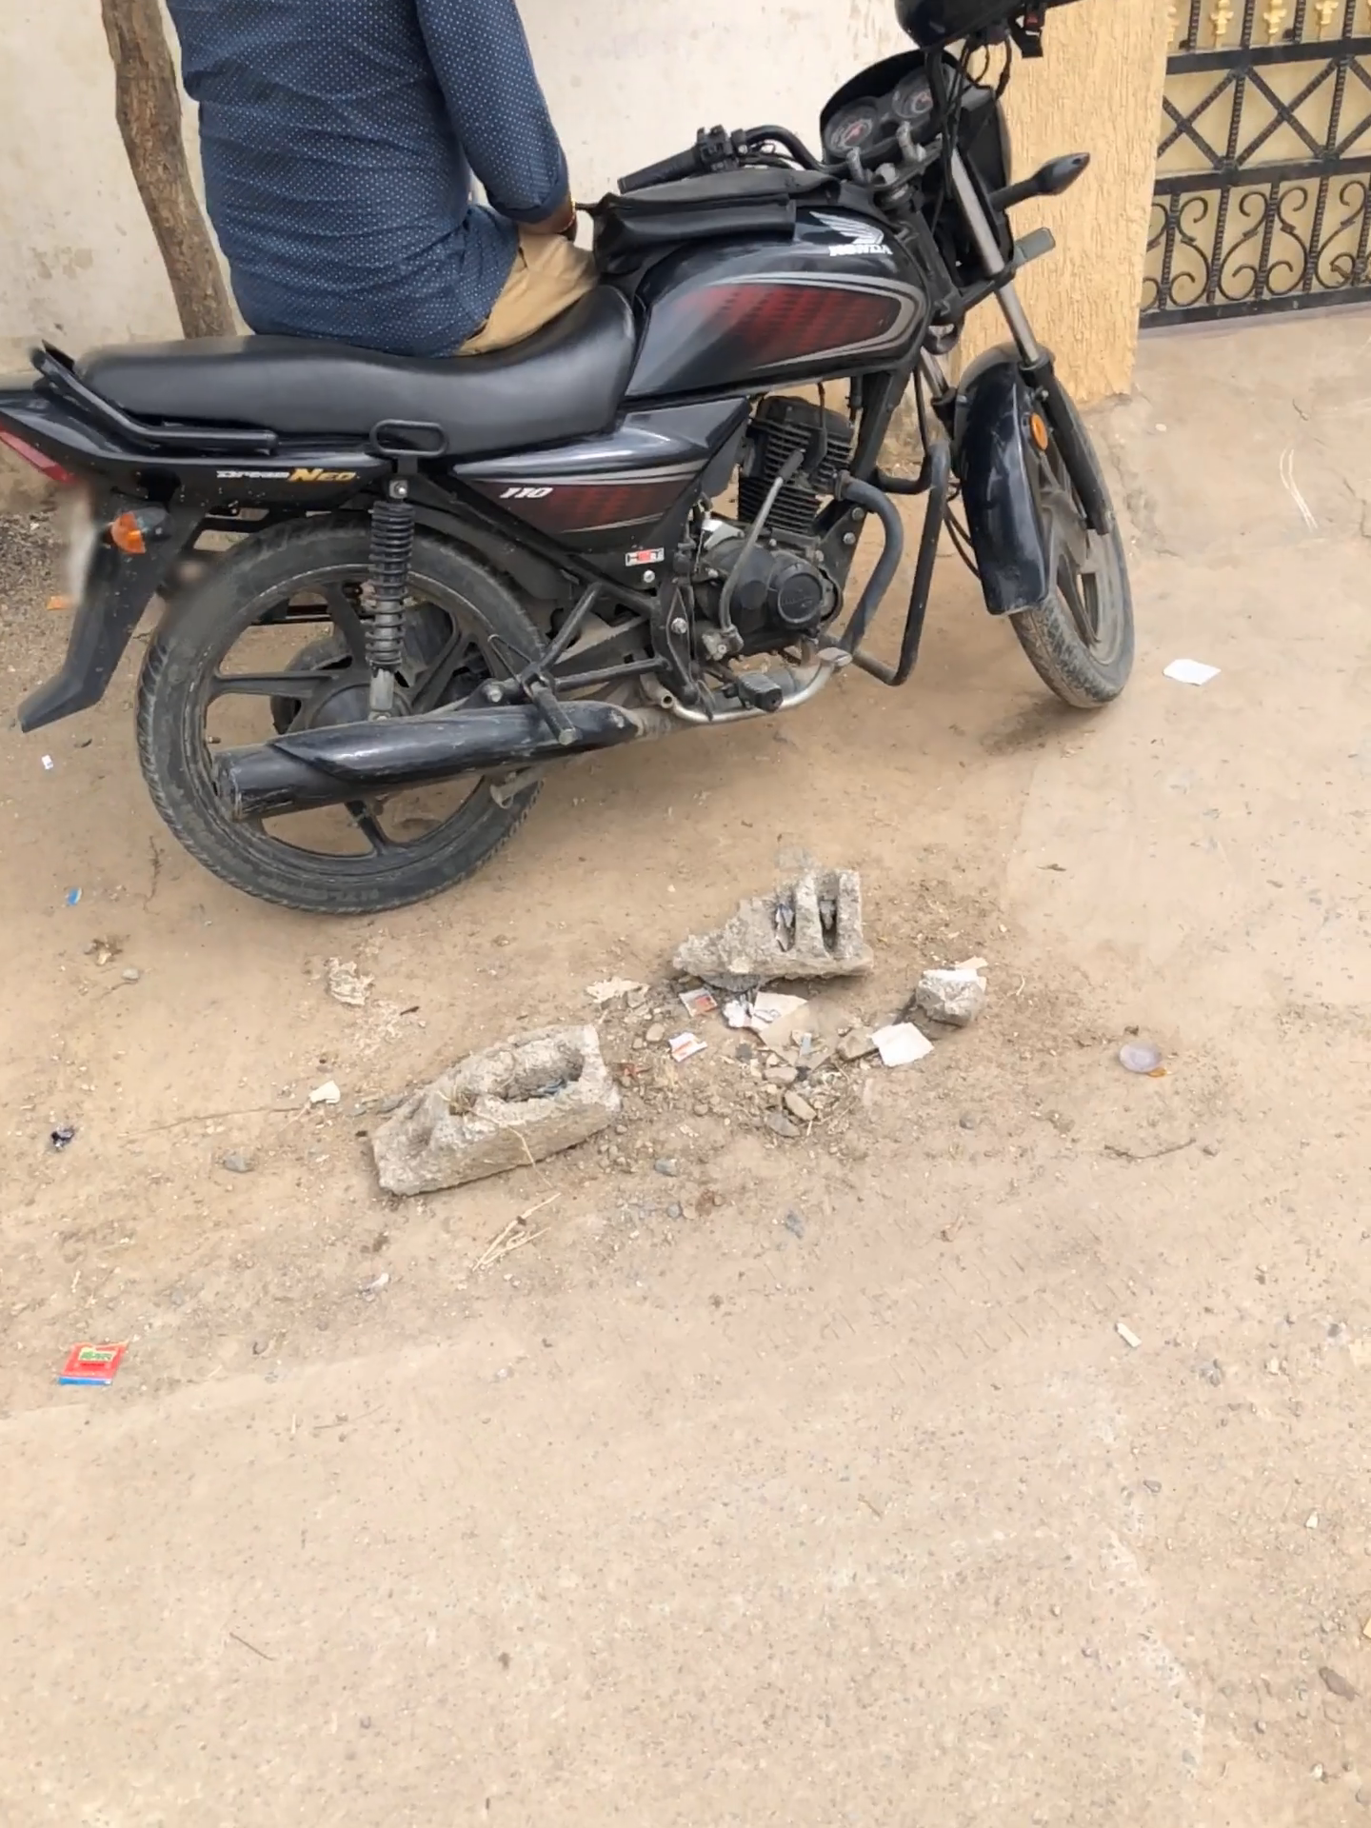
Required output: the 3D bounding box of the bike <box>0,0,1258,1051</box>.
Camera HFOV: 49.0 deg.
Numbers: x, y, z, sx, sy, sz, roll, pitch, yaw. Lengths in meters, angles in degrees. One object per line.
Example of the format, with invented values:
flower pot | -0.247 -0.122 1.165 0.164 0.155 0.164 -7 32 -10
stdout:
bike | -0.035 -0.753 2.270 1.669 1.070 0.723 -24 42 -24
